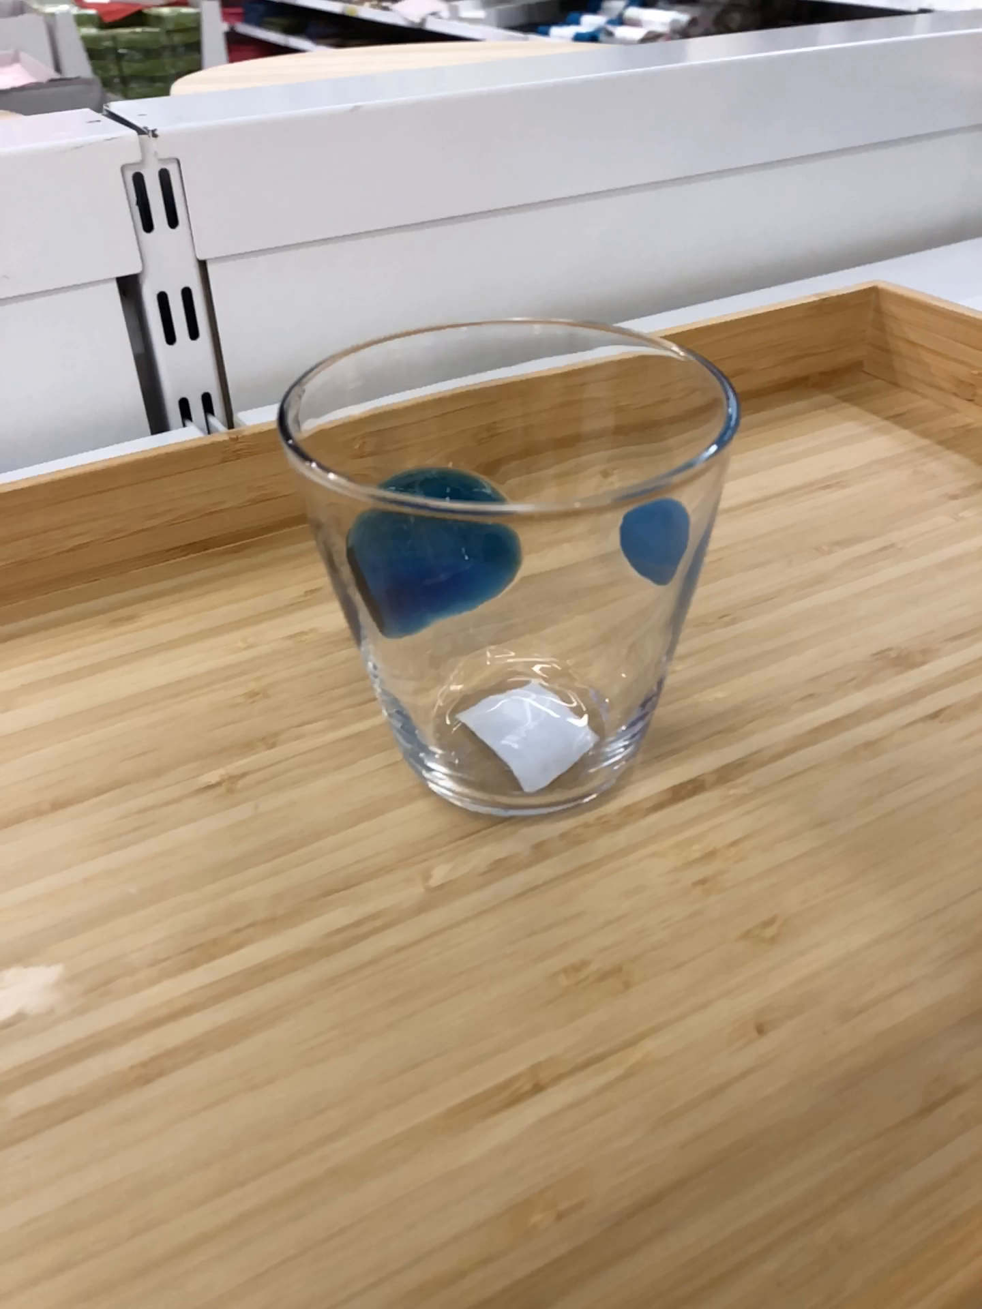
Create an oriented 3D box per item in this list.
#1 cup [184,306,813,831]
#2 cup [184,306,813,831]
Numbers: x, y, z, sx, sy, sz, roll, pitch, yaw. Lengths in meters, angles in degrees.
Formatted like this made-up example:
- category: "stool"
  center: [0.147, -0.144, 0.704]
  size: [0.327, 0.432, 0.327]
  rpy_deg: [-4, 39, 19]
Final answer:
- category: "cup"
  center: [0.004, -0.024, 0.234]
  size: [0.100, 0.070, 0.100]
  rpy_deg: [-1, 35, 1]
- category: "cup"
  center: [0.004, -0.024, 0.234]
  size: [0.100, 0.070, 0.100]
  rpy_deg: [-1, 35, 1]
